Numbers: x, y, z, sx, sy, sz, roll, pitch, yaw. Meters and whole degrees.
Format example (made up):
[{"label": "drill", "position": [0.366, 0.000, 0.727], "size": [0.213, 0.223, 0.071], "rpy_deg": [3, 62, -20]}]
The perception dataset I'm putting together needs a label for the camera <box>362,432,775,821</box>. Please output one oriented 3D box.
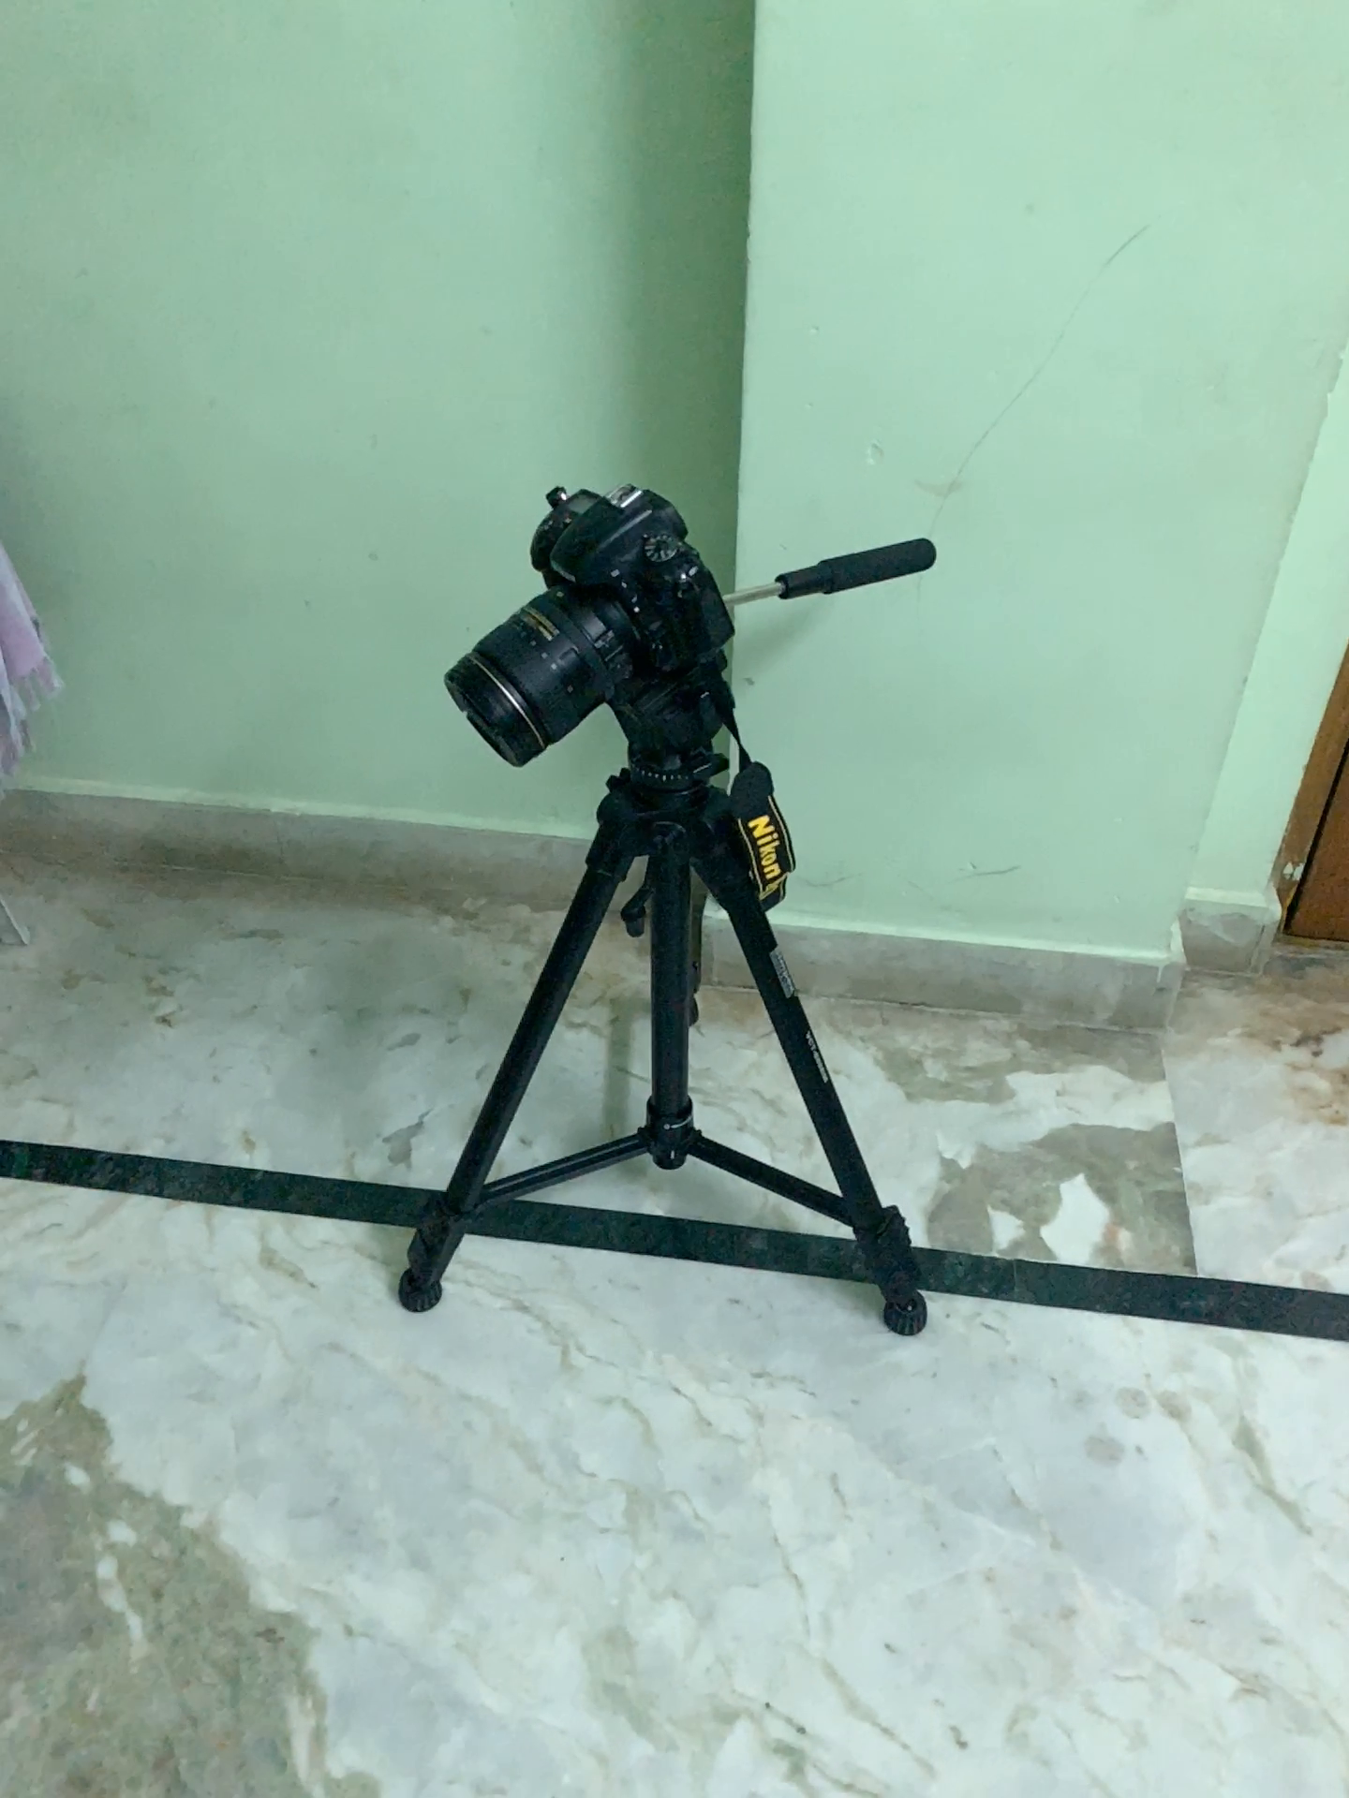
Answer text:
[{"label": "camera", "position": [-0.069, -0.181, 0.891], "size": [0.180, 0.110, 0.171], "rpy_deg": [-40, 48, -9]}]
